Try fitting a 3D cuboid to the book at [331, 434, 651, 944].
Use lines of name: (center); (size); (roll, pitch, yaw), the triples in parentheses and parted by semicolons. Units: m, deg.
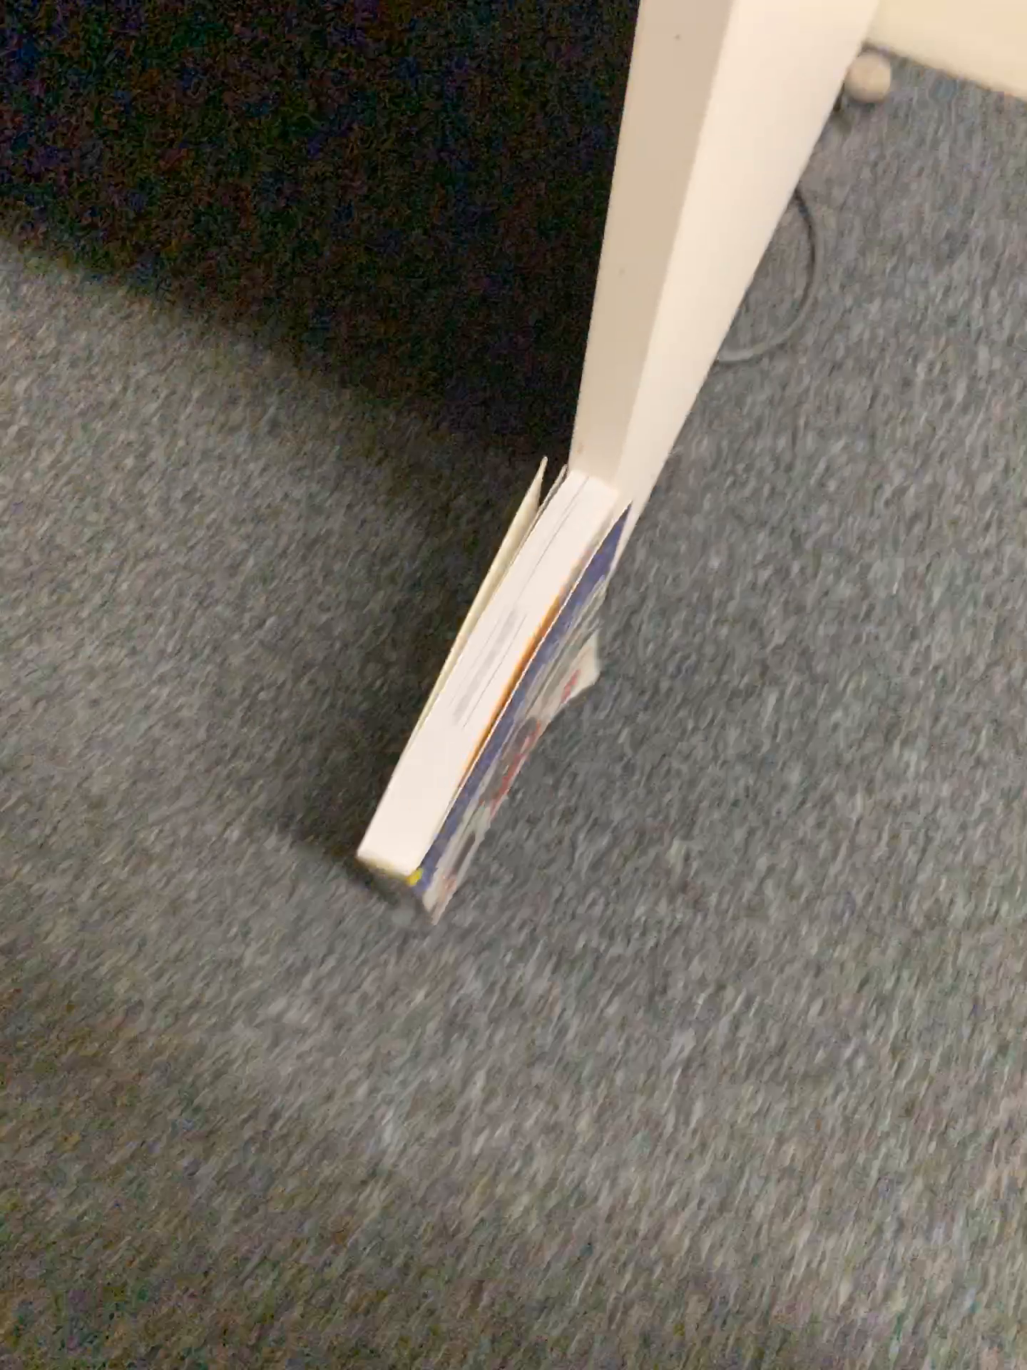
book: (-0.009, 0.026, 0.589); (0.051, 0.276, 0.212); (25, 73, 6)
